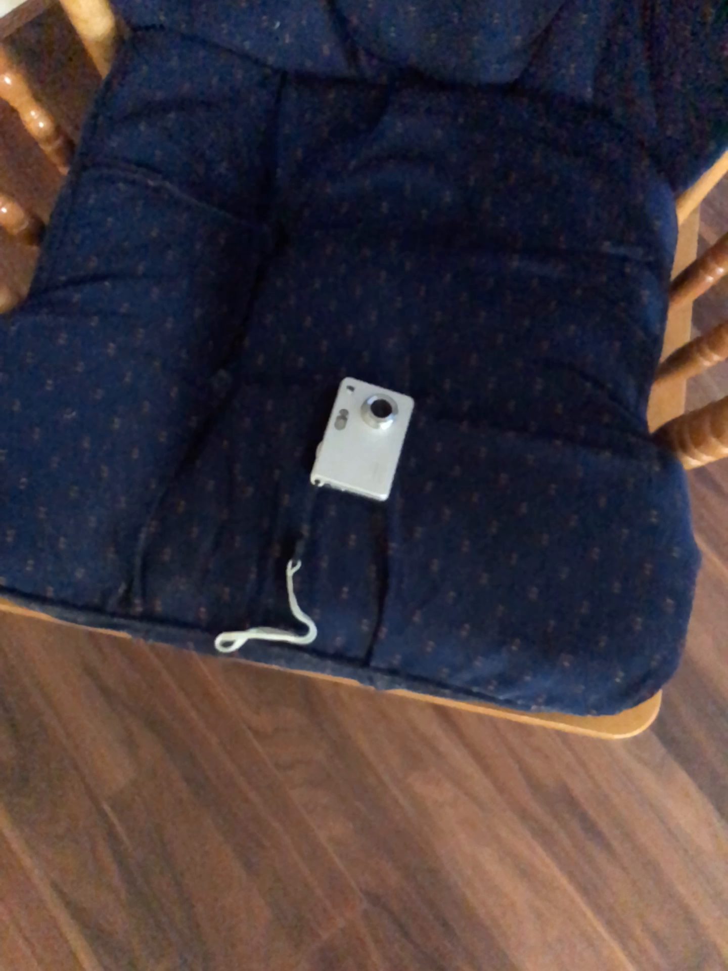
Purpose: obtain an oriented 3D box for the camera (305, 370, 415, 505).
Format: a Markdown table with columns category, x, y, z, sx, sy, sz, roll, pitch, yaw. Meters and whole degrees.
| category | x | y | z | sx | sy | sz | roll | pitch | yaw |
| --- | --- | --- | --- | --- | --- | --- | --- | --- | --- |
| camera | -0.002 | -0.035 | 0.584 | 0.058 | 0.018 | 0.085 | 17 | 67 | -1 |
